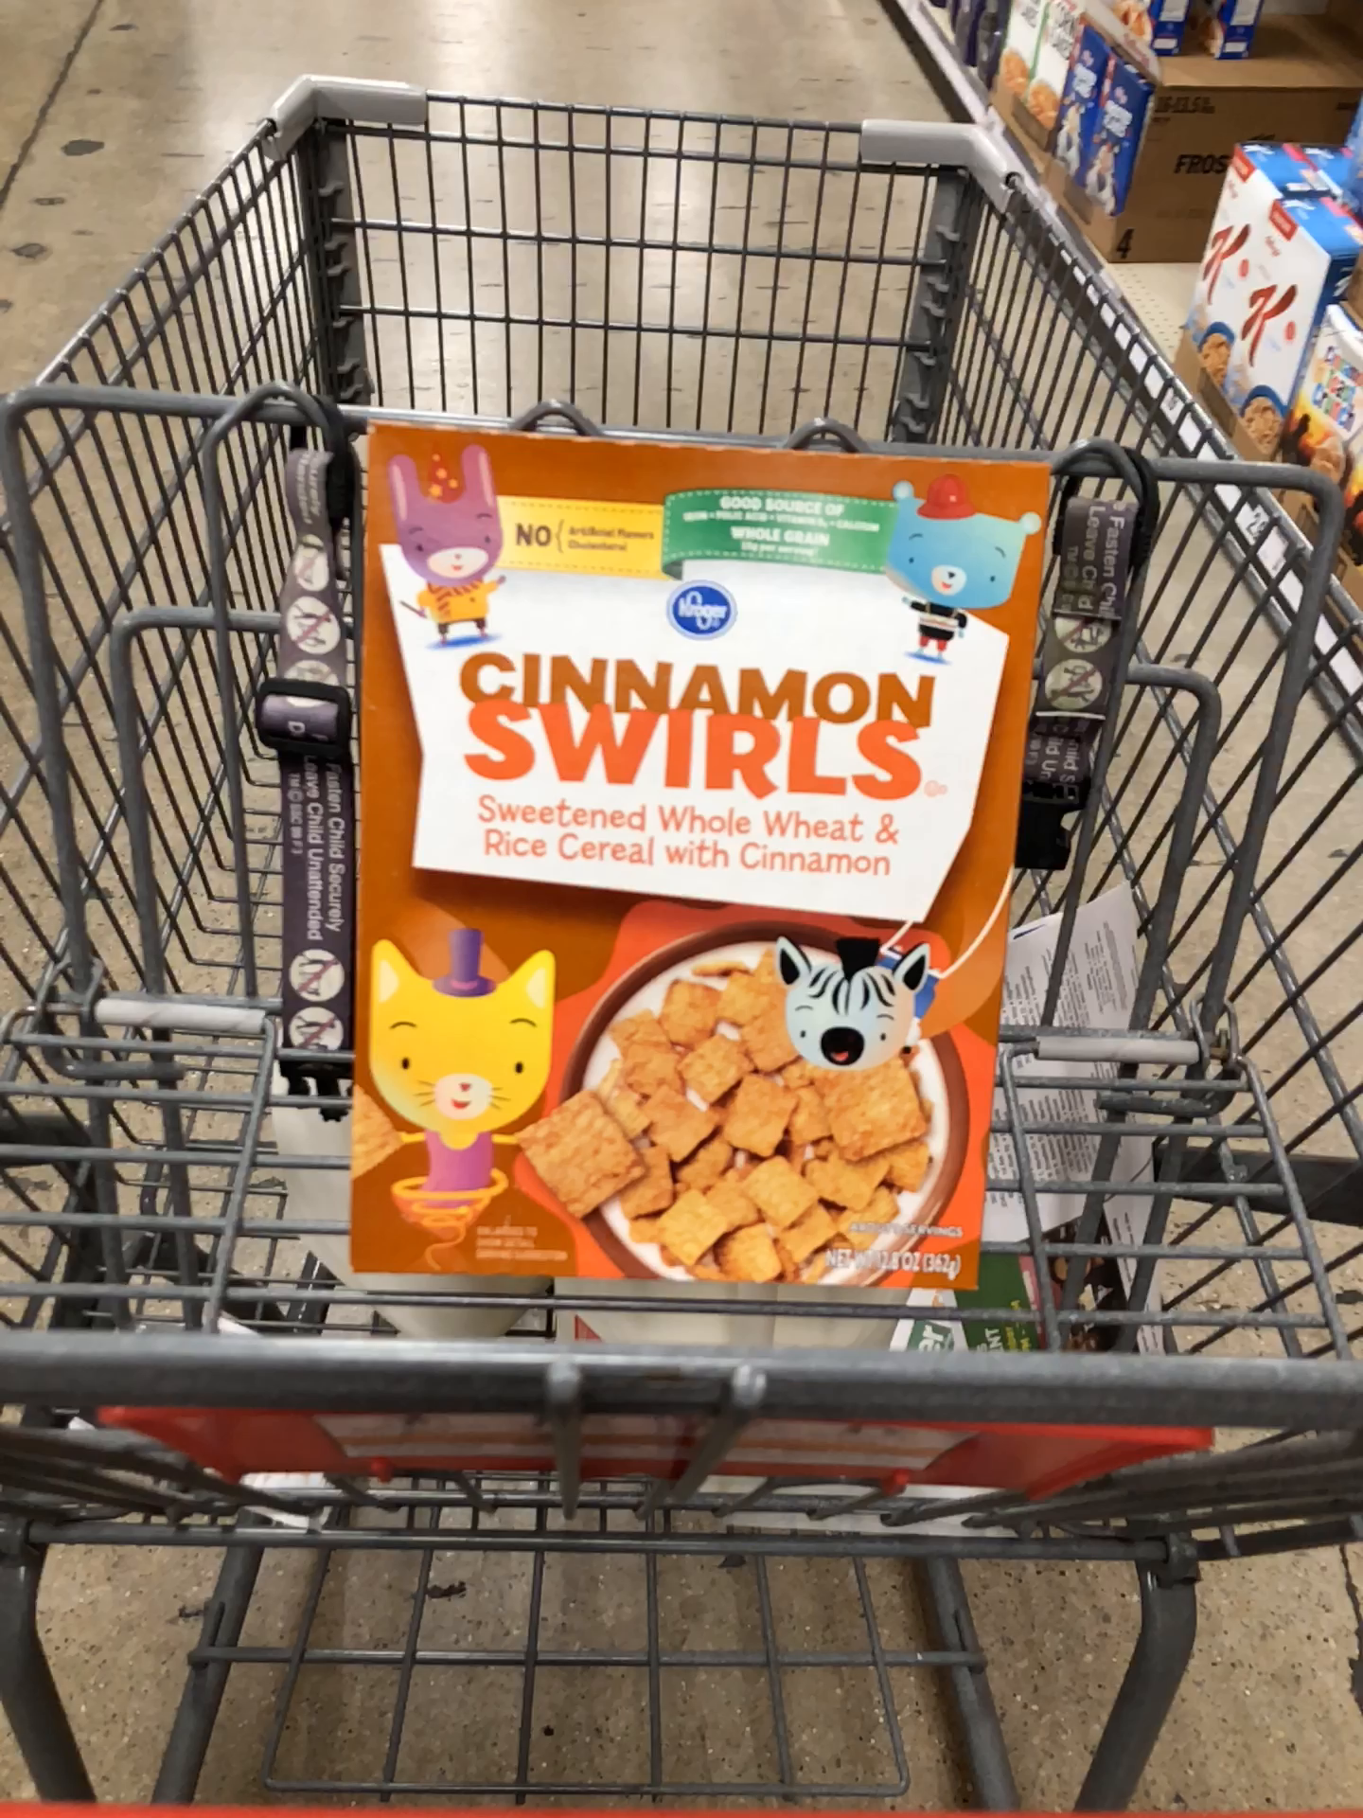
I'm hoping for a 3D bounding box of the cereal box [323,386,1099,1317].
[{"bbox_3d":[0.004,-0.013,0.454,0.210,0.260,0.050,3,9,-2],"label":"cereal box"}]
